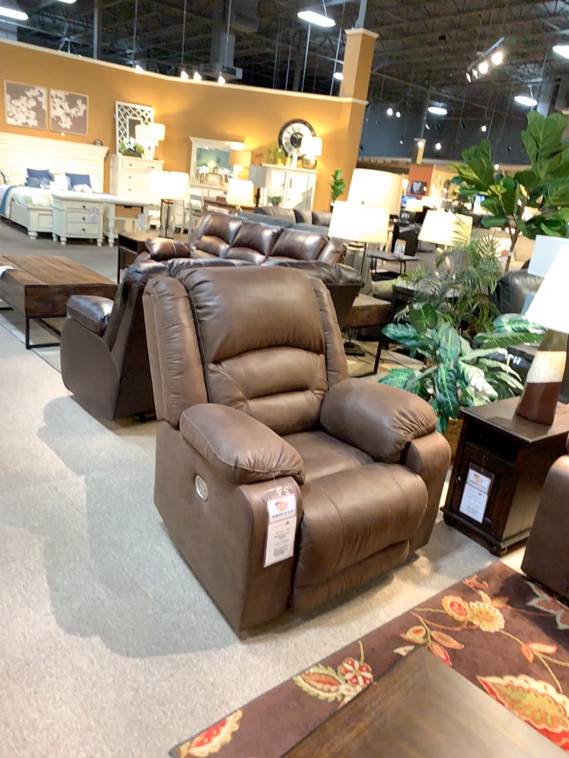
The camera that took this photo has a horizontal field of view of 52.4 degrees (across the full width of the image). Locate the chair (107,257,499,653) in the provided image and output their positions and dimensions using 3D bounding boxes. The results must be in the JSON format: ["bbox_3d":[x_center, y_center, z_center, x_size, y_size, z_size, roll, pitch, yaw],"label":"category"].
[{"bbox_3d":[-0.008,0.132,2.321,1.002,1.028,1.067,-8,24,-37],"label":"chair"}]
